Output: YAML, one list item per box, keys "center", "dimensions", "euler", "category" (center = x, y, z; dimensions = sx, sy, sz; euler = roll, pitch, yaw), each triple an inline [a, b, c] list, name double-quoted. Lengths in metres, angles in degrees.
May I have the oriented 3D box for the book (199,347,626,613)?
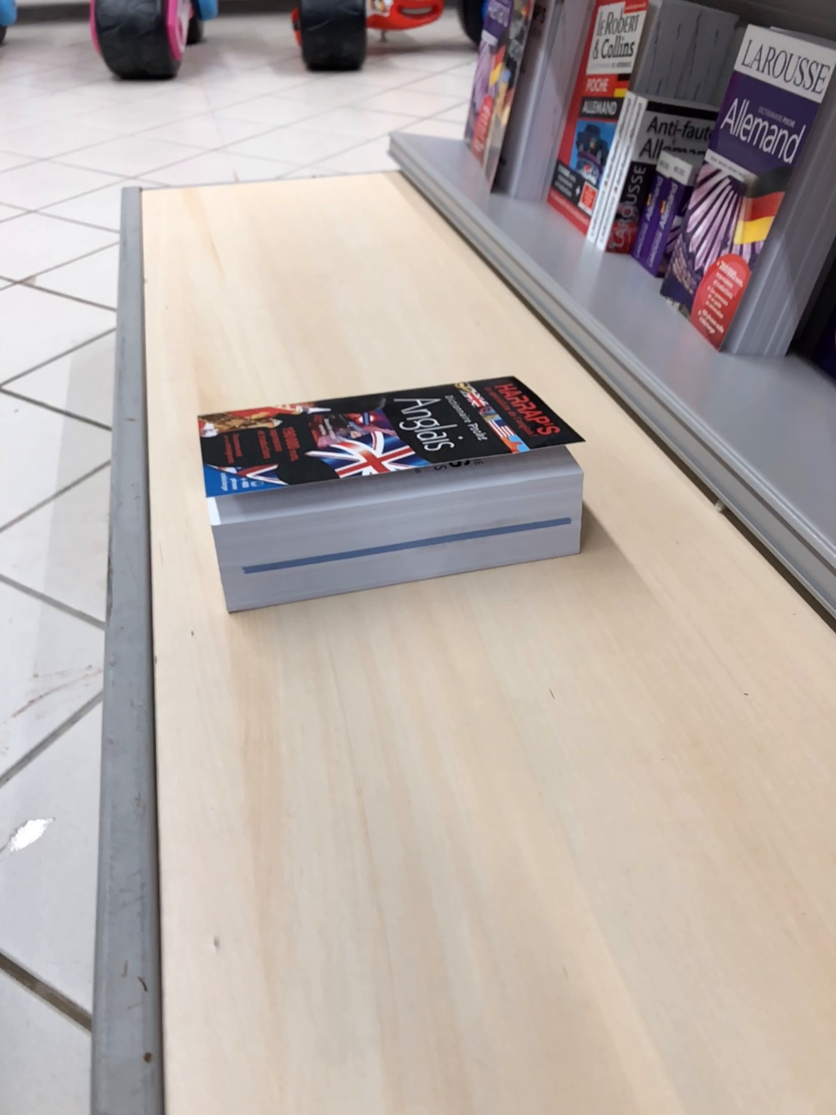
- center: [-0.009, -0.045, 0.456]
  dimensions: [0.182, 0.057, 0.116]
  euler: [-9, 37, -11]
  category: "book"
